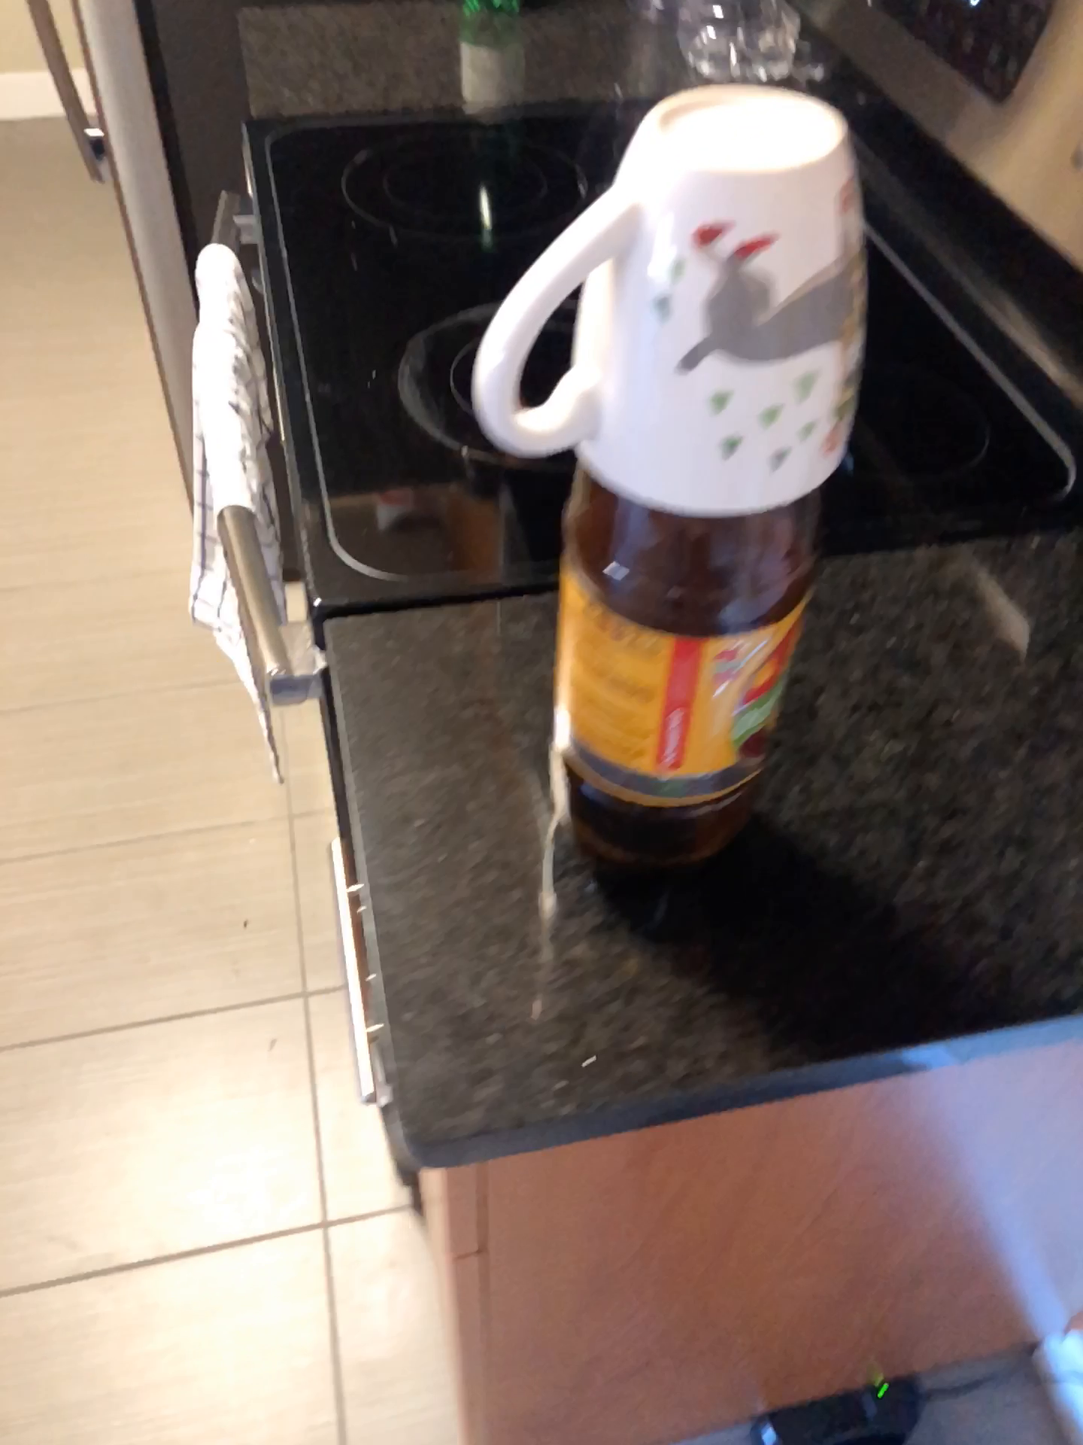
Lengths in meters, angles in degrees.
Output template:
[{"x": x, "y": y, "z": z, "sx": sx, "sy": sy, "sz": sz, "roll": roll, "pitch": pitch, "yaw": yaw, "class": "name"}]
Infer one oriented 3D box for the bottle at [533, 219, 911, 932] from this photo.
[{"x": 0.063, "y": -0.044, "z": 0.504, "sx": 0.100, "sy": 0.279, "sz": 0.100, "roll": 1, "pitch": 47, "yaw": -1, "class": "bottle"}]
